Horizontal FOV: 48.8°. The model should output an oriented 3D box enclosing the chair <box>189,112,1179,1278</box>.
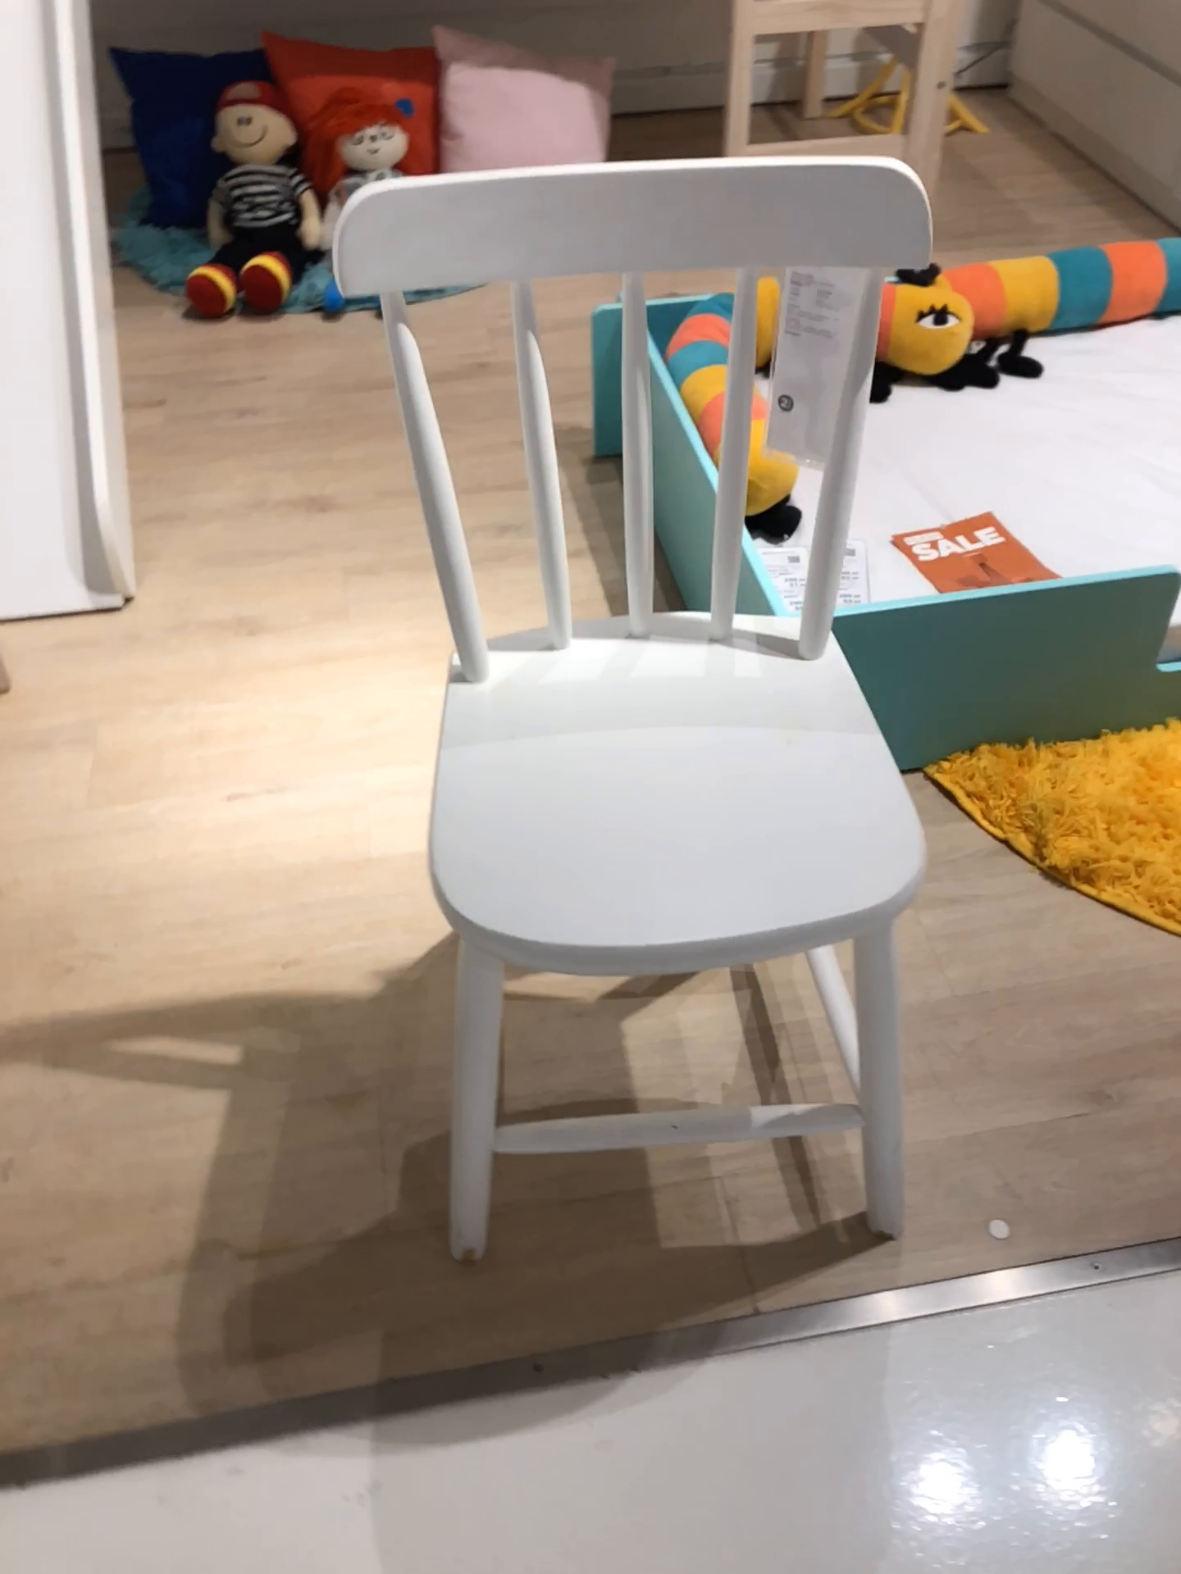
[{"bbox_3d":[0.035,-0.029,0.990,0.440,0.754,0.433,-4,43,-3],"label":"chair"}]
